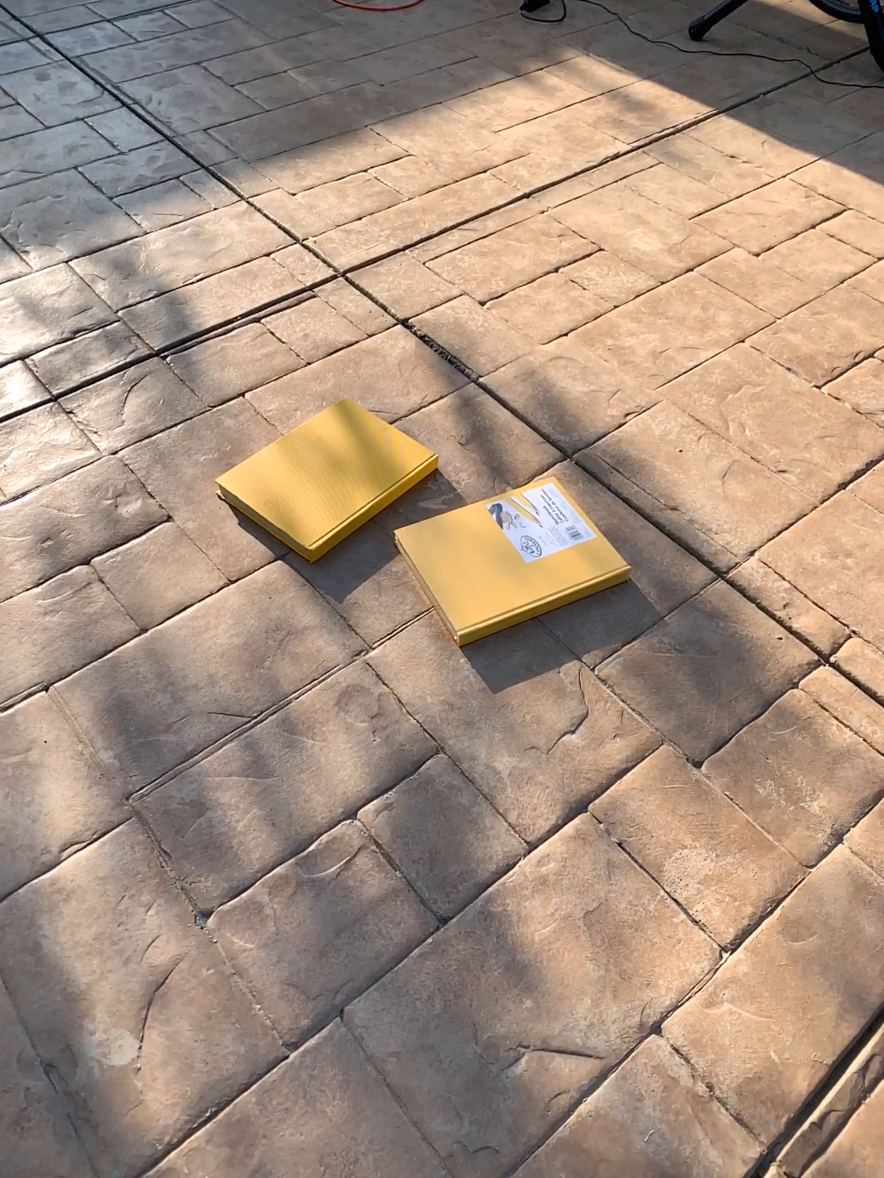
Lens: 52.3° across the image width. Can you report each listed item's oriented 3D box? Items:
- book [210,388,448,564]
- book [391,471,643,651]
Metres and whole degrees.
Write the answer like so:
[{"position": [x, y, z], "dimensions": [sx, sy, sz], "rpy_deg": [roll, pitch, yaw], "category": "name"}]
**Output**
[{"position": [-0.178, -0.194, 1.461], "dimensions": [0.231, 0.030, 0.311], "rpy_deg": [34, 56, 23], "category": "book"}, {"position": [0.108, -0.052, 1.346], "dimensions": [0.300, 0.030, 0.231], "rpy_deg": [-20, 53, -18], "category": "book"}]
